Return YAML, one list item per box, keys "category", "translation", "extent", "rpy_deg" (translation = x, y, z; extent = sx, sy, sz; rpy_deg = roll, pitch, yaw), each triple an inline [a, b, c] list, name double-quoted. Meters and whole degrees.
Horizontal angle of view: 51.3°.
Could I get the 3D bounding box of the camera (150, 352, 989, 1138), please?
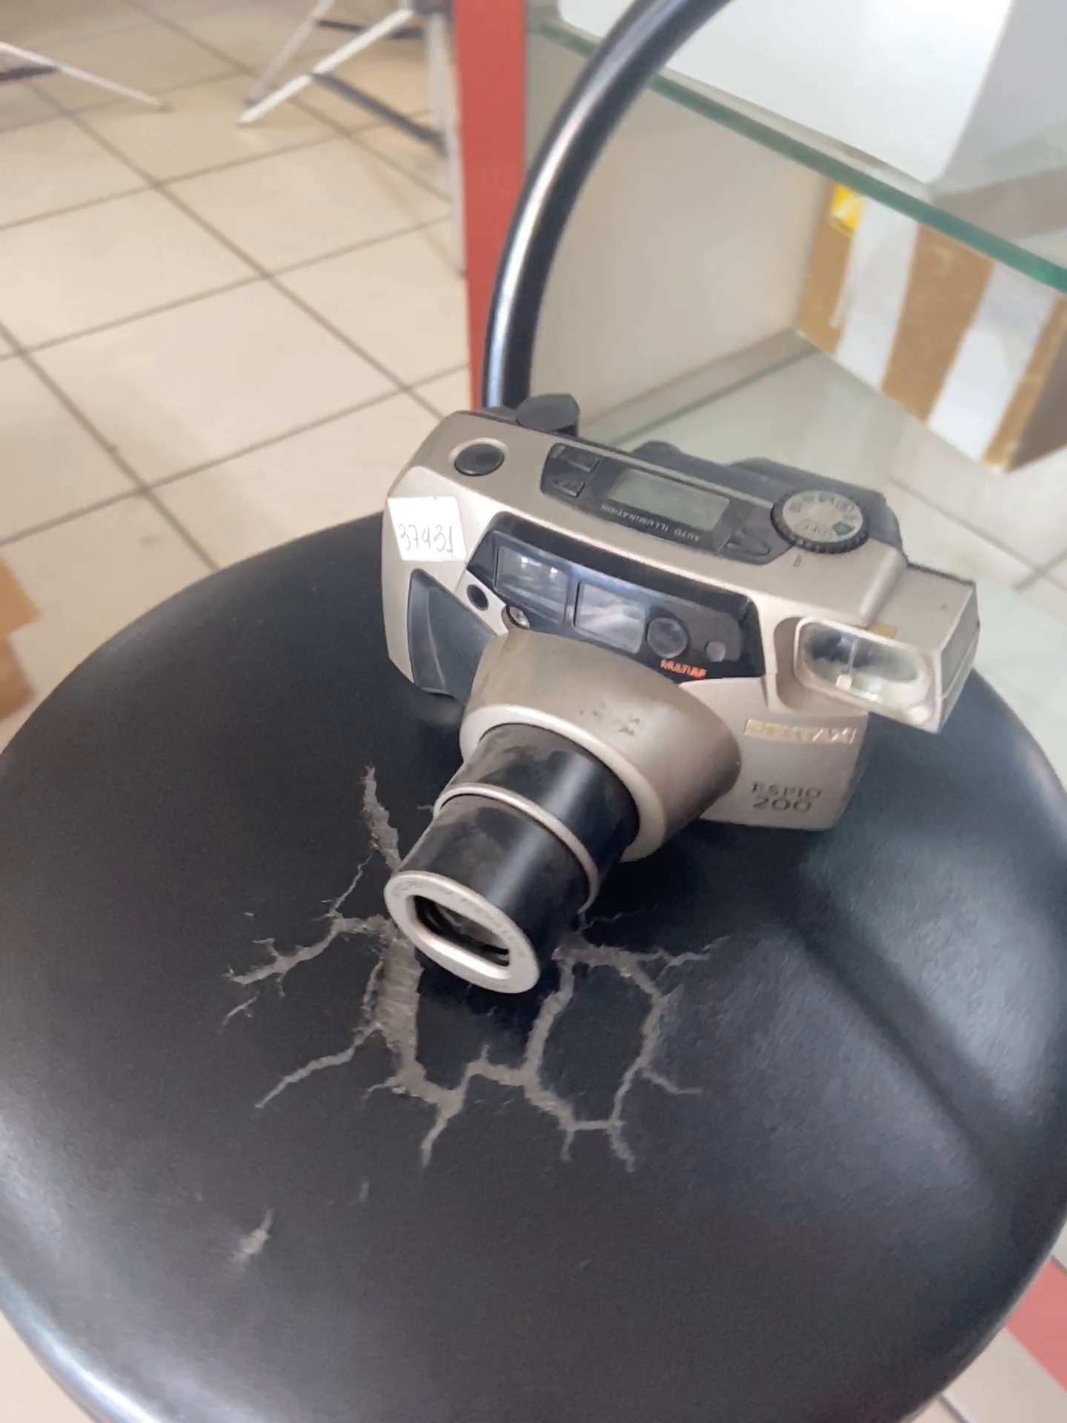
- category: "camera"
  translation: [0.014, -0.002, 0.251]
  extent: [0.130, 0.080, 0.121]
  rpy_deg: [20, 50, 16]
